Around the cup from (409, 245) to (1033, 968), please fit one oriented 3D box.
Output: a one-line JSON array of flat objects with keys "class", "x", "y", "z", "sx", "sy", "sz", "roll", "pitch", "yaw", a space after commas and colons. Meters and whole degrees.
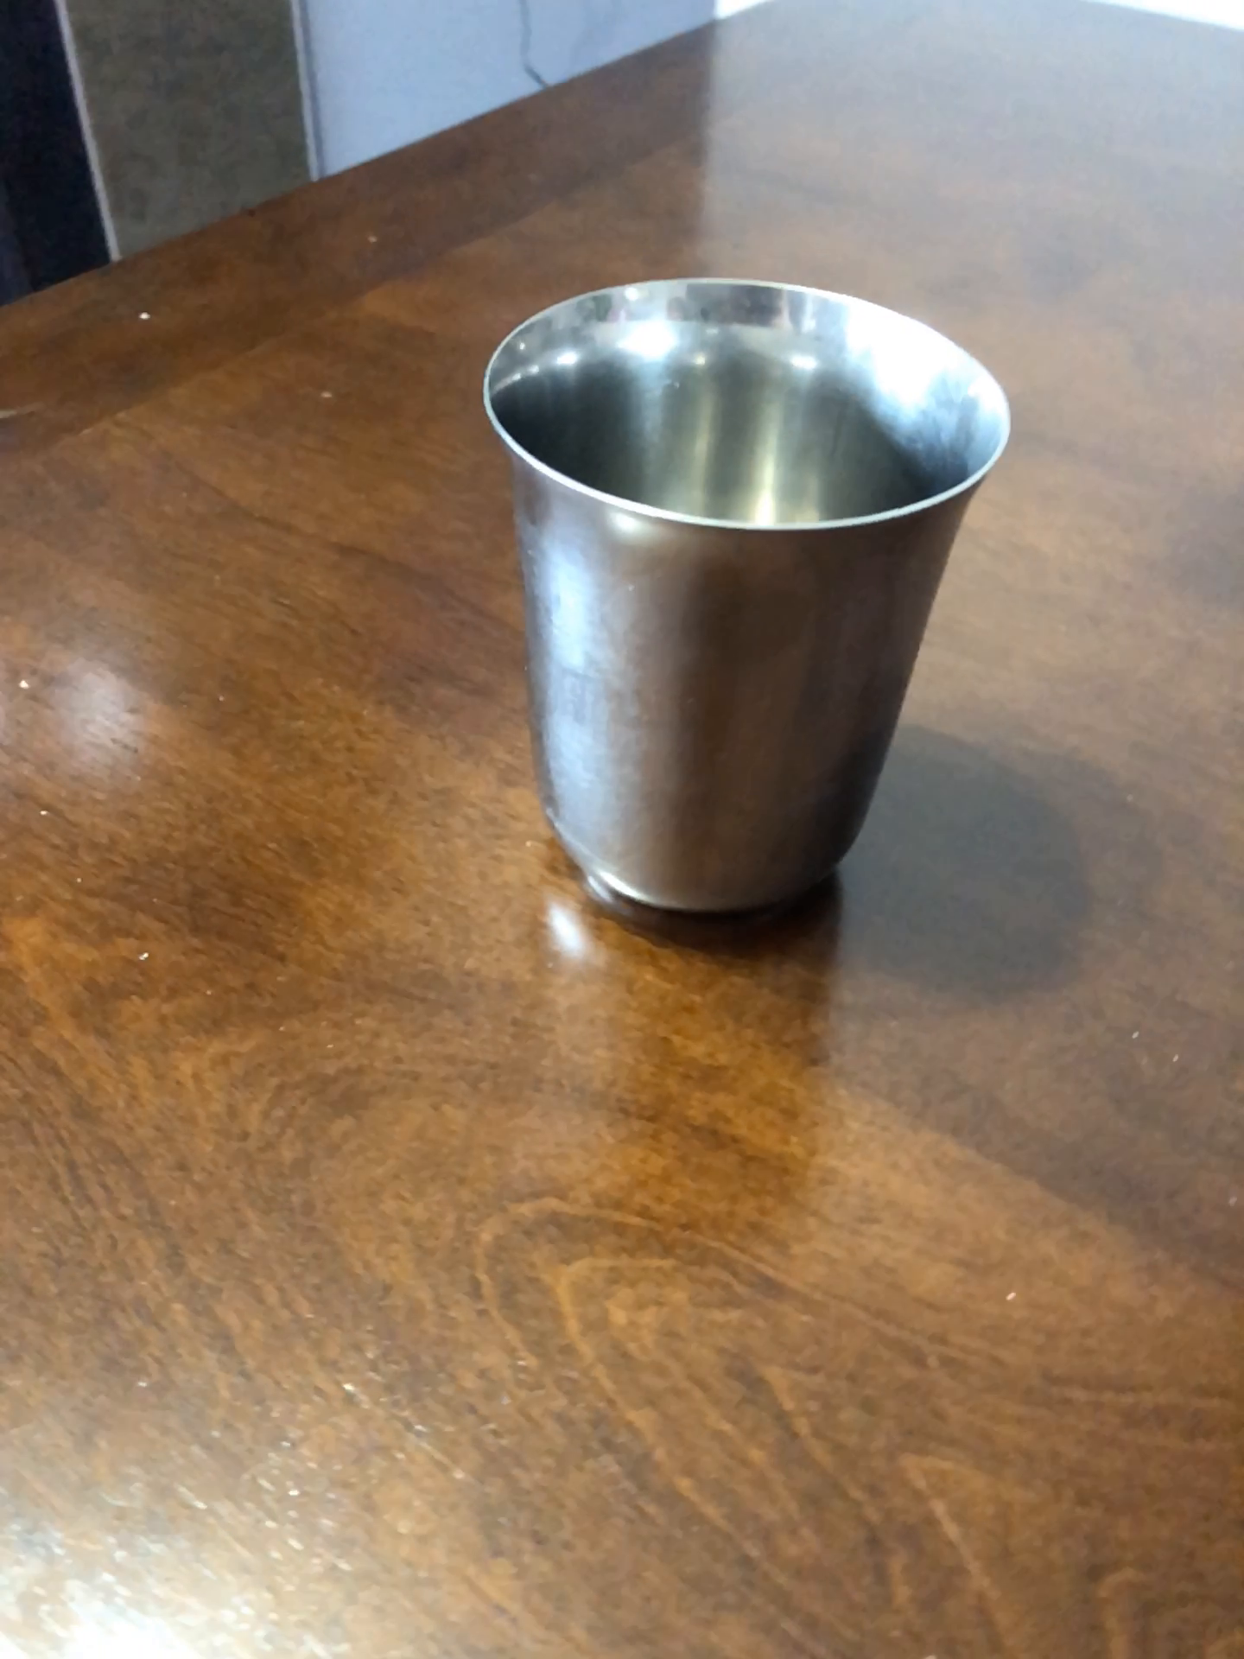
[{"class": "cup", "x": 0.018, "y": -0.041, "z": 0.241, "sx": 0.080, "sy": 0.080, "sz": 0.080, "roll": 2, "pitch": 44, "yaw": -1}]
